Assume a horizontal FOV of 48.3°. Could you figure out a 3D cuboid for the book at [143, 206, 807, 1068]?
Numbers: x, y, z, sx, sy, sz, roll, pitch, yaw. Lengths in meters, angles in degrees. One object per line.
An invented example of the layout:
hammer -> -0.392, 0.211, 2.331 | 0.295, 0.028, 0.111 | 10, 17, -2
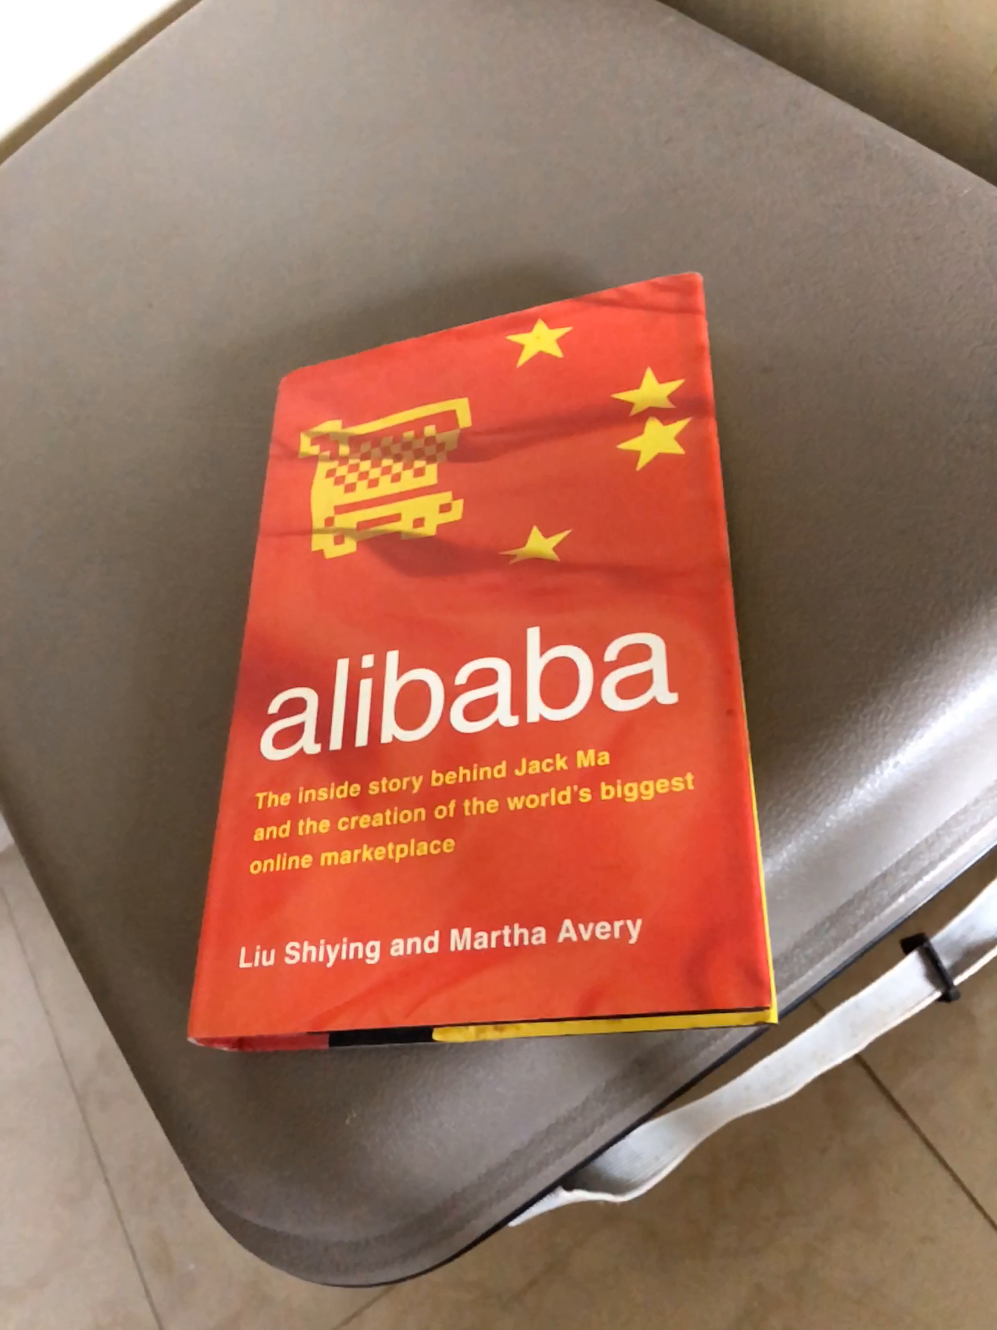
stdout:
book -> -0.007, -0.020, 0.341 | 0.160, 0.040, 0.260 | -8, 60, 13
